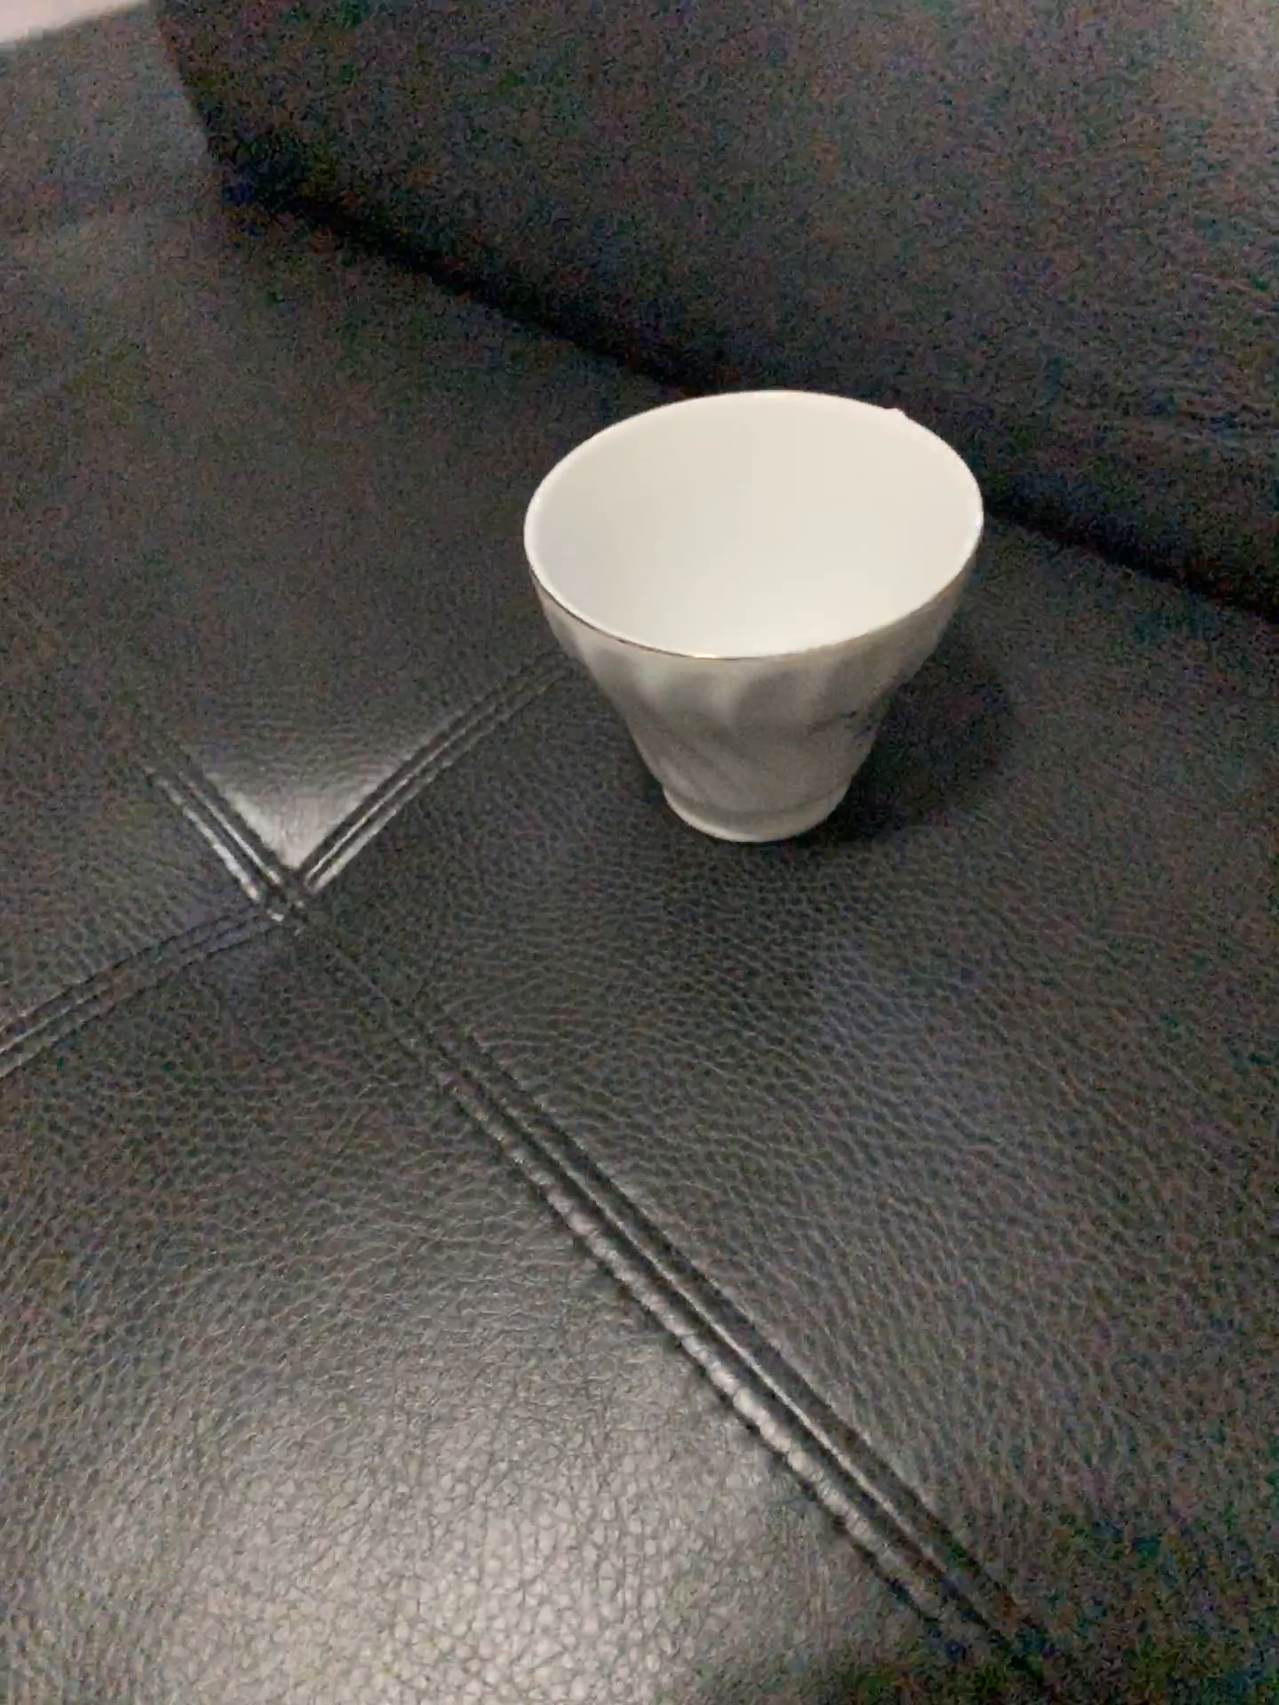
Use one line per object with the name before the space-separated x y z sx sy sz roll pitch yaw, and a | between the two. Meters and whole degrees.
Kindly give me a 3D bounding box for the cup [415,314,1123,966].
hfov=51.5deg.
cup | 0.030 -0.052 0.279 0.094 0.059 0.114 24 52 24
